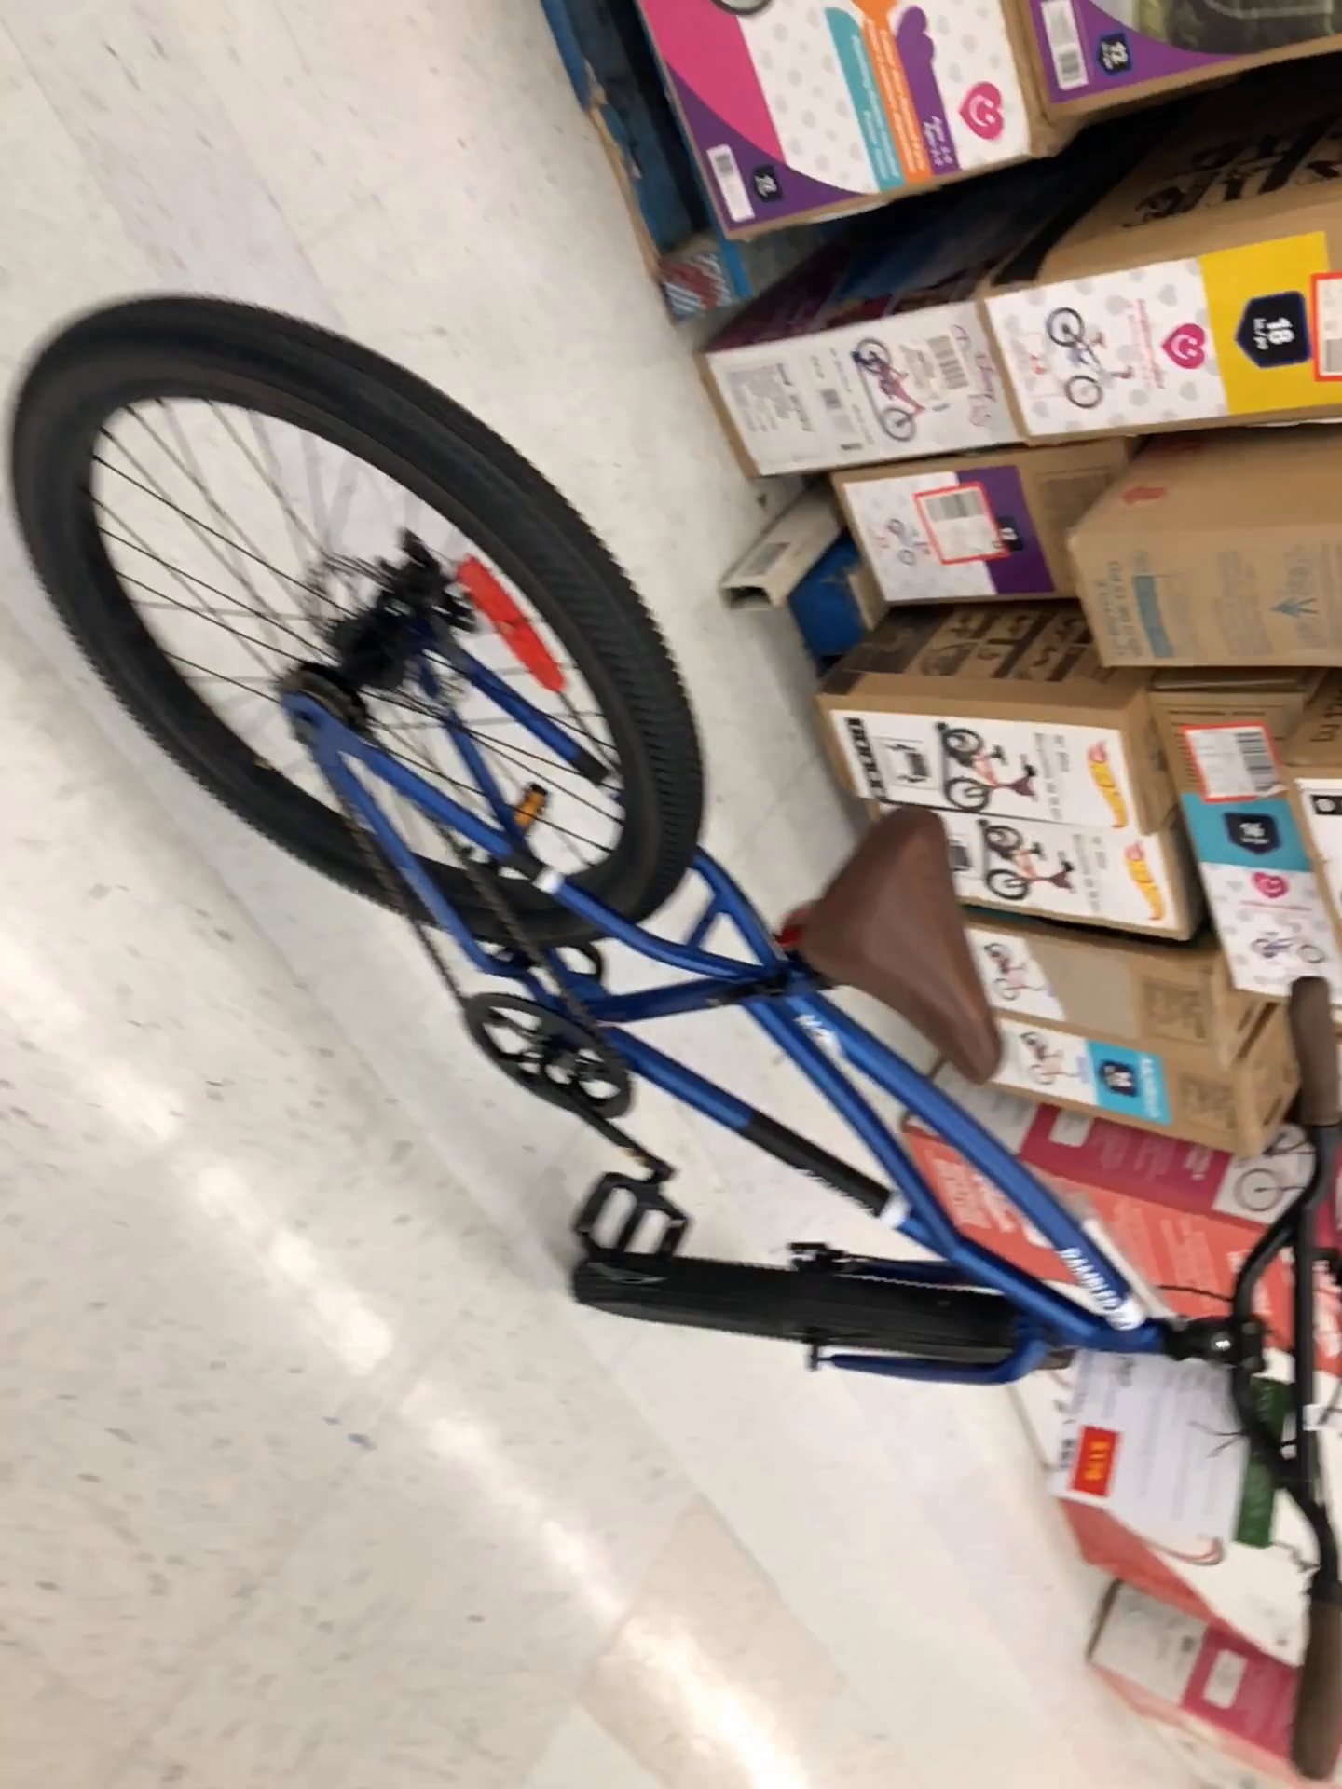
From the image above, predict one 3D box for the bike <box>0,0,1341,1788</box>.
[{"bbox_3d":[0.152,0.113,1.351,0.649,0.929,1.558,-57,133,-25],"label":"bike"}]
